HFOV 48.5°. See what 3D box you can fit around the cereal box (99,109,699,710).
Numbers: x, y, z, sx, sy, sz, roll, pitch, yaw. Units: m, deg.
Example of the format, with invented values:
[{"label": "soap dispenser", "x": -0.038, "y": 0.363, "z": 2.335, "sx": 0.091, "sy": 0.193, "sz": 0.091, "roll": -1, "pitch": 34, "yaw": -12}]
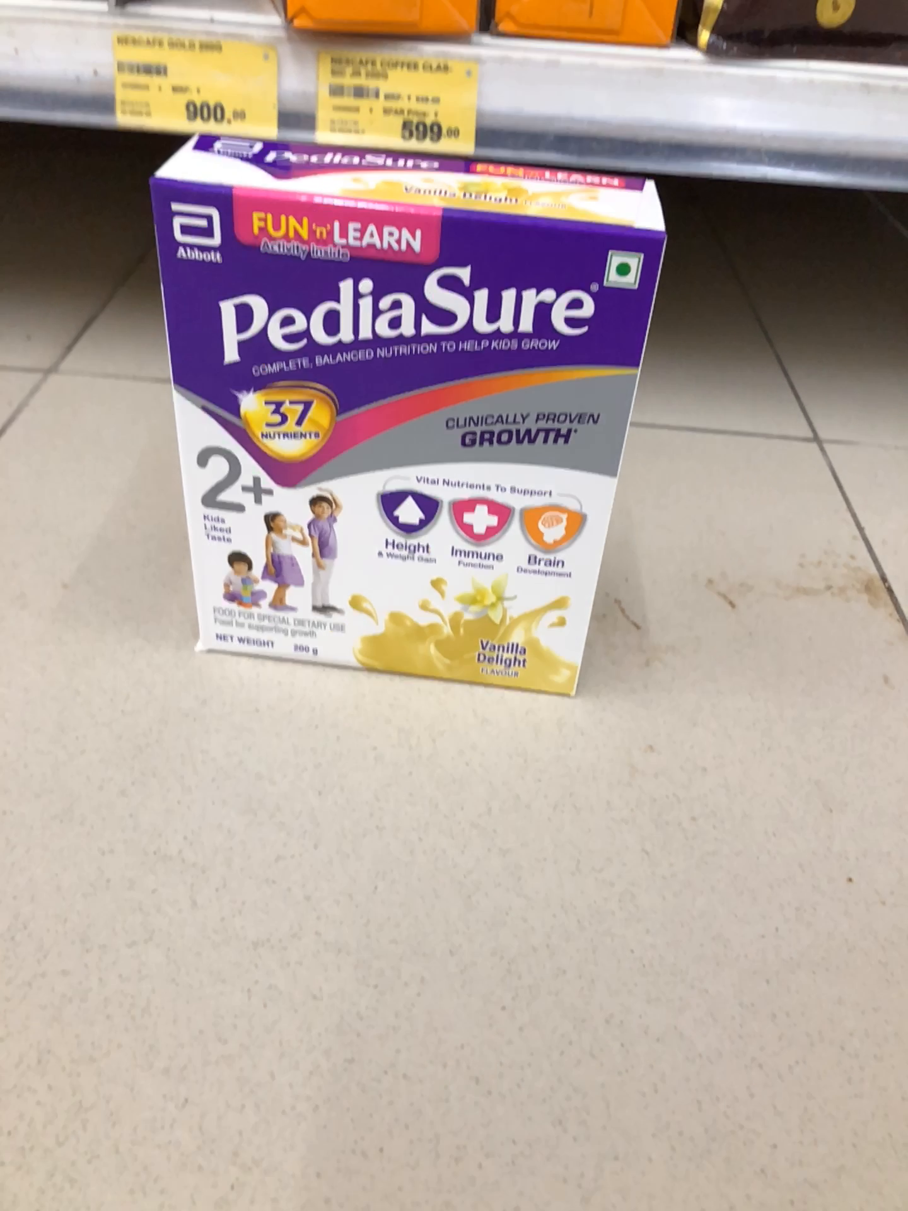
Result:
[{"label": "cereal box", "x": -0.016, "y": -0.051, "z": 0.303, "sx": 0.140, "sy": 0.159, "sz": 0.050, "roll": 6, "pitch": 39, "yaw": 2}]
